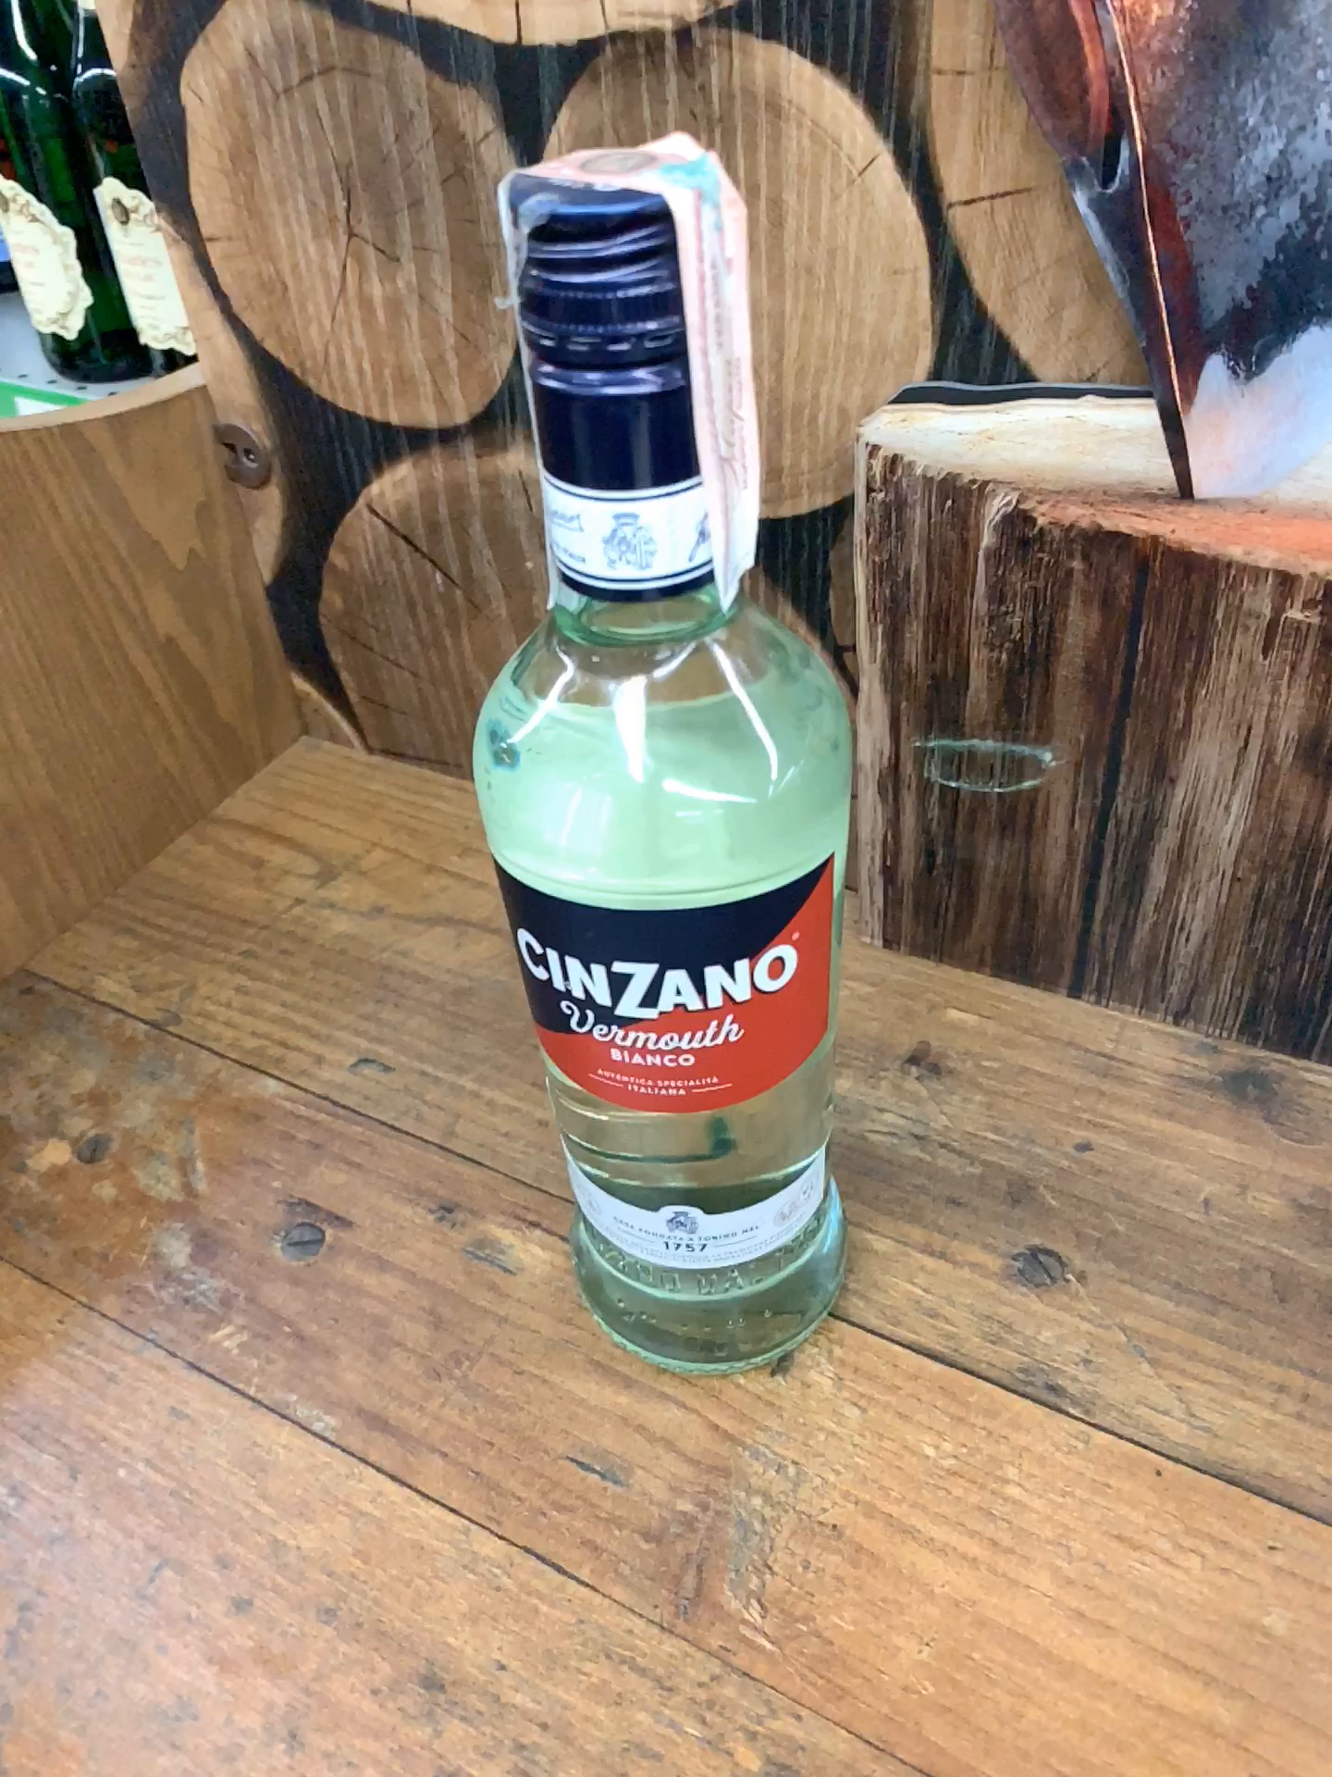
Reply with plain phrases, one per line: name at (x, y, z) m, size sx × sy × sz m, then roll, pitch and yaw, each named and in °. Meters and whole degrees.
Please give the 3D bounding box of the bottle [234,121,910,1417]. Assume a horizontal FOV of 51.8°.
bottle at (0.000, -0.002, 0.252) m, size 0.070 × 0.231 × 0.070 m, roll -3°, pitch 40°, yaw 3°
